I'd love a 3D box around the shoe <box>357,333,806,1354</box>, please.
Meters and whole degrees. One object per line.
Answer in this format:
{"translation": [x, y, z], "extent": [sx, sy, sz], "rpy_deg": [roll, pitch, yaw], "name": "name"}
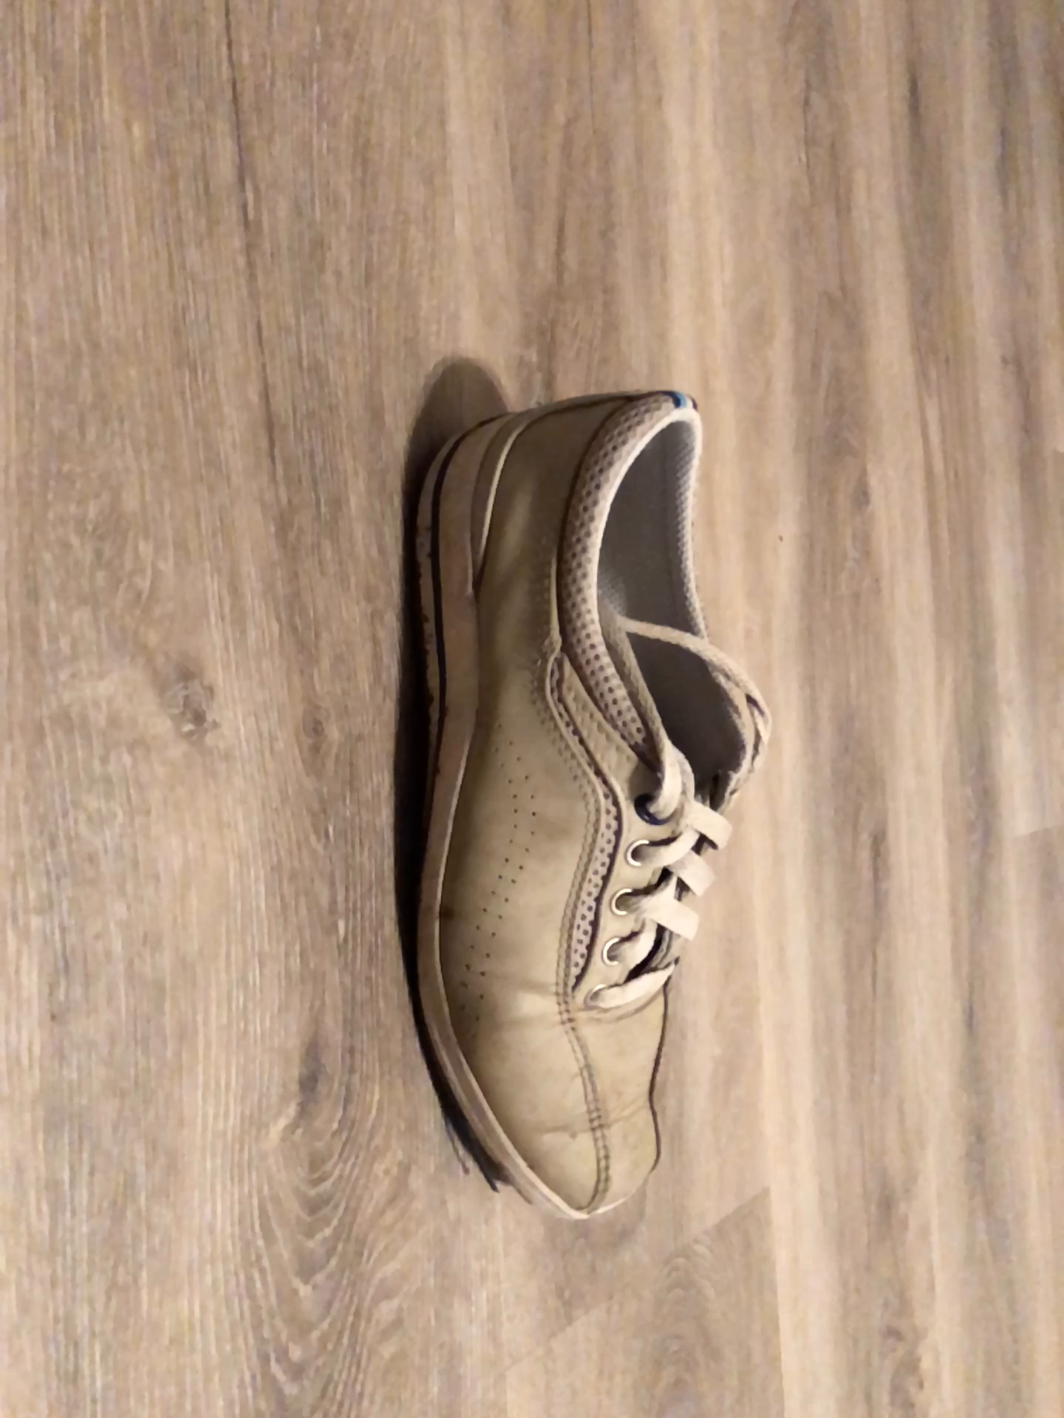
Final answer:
{"translation": [0.018, 0.033, 0.344], "extent": [0.091, 0.070, 0.250], "rpy_deg": [-6, 91, -52], "name": "shoe"}
